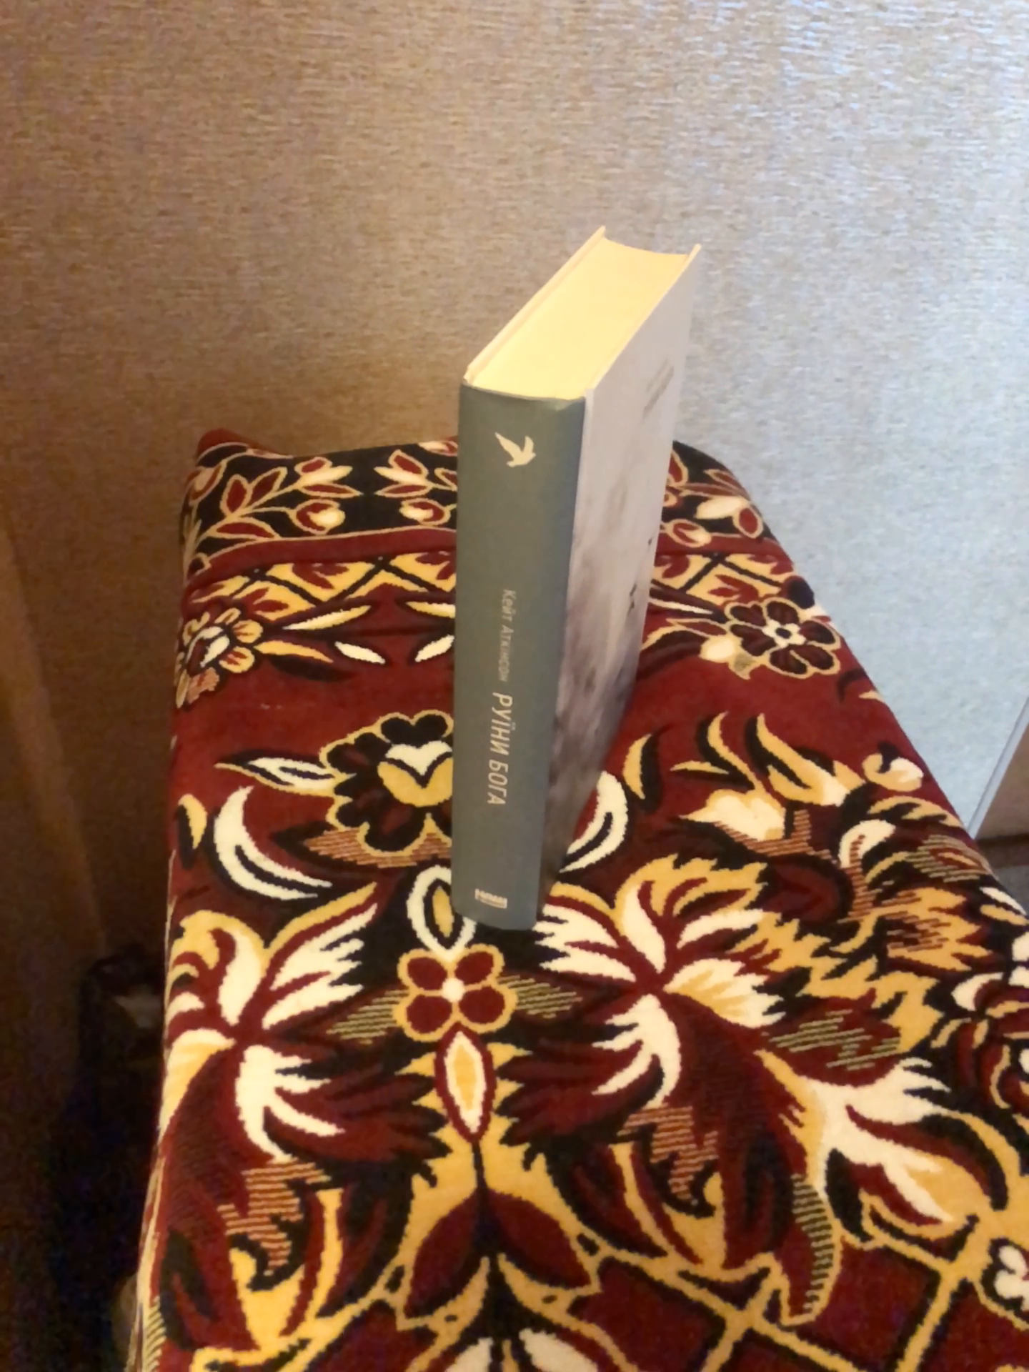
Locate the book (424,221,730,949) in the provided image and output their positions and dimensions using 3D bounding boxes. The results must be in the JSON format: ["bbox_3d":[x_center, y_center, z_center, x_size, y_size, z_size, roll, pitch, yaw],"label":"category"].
[{"bbox_3d":[0.020,-0.035,0.391,0.048,0.200,0.146,14,39,11],"label":"book"}]
